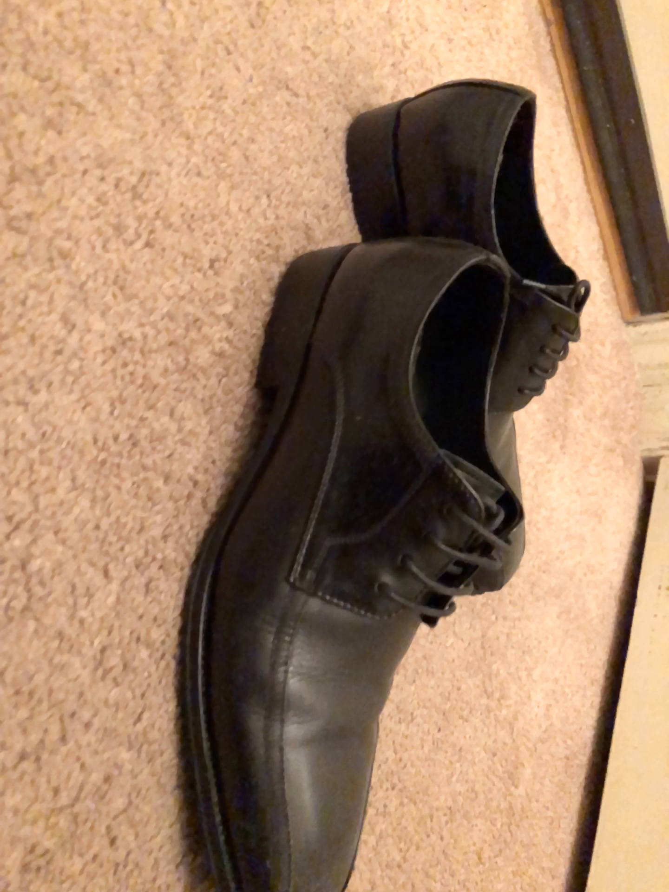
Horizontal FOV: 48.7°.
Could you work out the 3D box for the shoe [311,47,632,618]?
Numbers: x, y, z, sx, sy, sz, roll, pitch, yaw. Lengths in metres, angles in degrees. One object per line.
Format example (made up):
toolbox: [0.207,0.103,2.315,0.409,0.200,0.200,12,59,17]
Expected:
shoe: [0.095,-0.061,0.454,0.116,0.110,0.297,-31,113,-51]

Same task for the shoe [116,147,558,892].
shoe: [0.015,0.042,0.314,0.111,0.107,0.283,26,67,-51]
